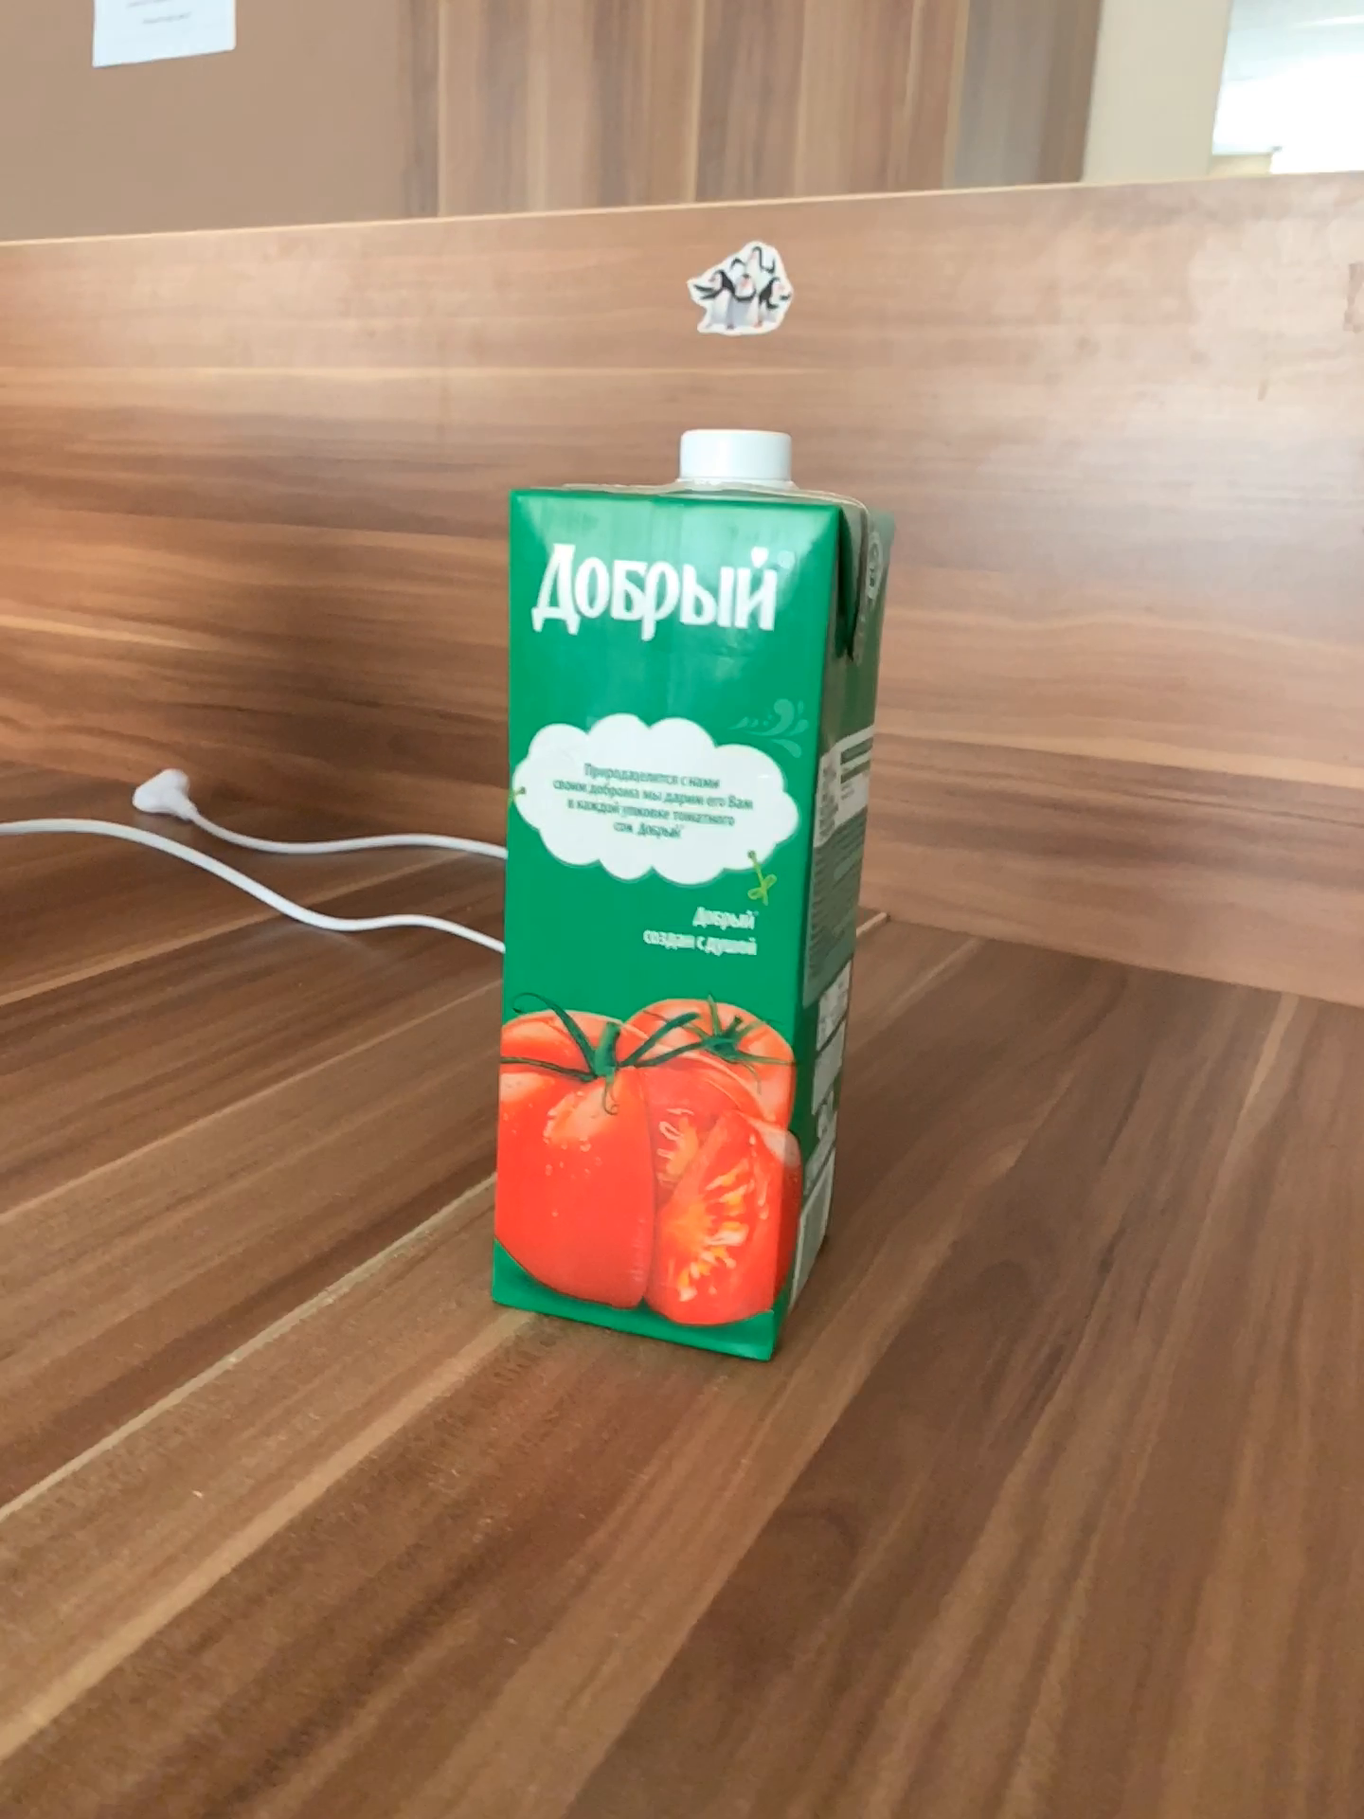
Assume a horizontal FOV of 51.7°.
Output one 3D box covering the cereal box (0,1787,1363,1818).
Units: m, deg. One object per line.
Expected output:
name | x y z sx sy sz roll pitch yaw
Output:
cereal box | -0.294 0.665 0.039 0.590 0.837 0.612 -1 16 -12
